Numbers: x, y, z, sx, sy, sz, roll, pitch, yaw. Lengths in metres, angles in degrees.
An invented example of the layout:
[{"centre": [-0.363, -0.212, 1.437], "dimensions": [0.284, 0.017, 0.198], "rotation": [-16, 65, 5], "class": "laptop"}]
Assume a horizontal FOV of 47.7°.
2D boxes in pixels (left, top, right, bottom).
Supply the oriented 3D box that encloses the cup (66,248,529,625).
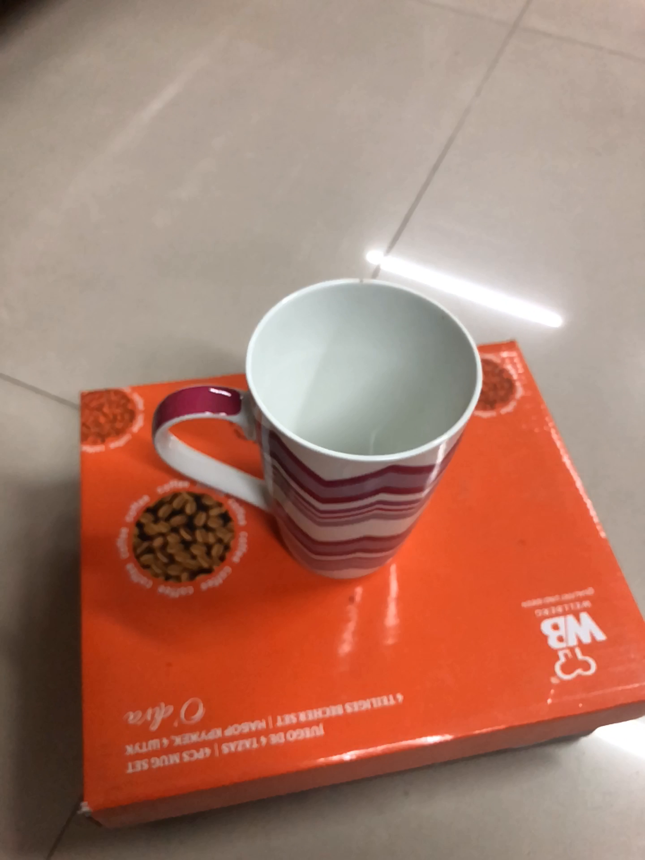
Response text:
[{"centre": [-0.012, 0.006, 0.275], "dimensions": [0.130, 0.109, 0.090], "rotation": [-3, 57, -5], "class": "cup"}]
